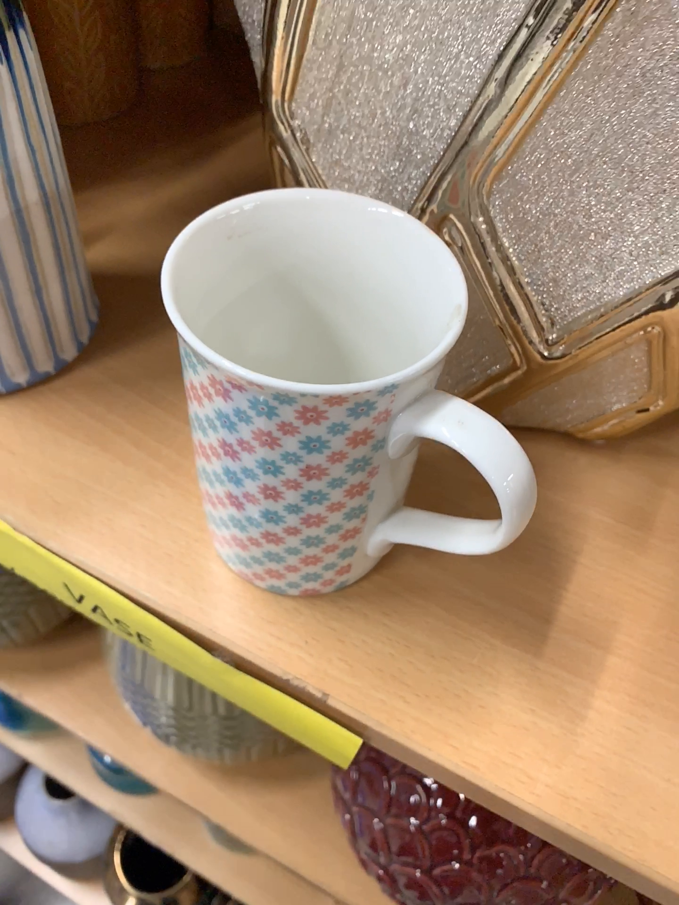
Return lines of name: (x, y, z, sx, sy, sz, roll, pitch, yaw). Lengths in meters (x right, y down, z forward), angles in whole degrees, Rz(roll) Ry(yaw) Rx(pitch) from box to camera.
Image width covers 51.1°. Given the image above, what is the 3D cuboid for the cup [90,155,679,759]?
cup: (0.007, 0.001, 0.211, 0.120, 0.110, 0.080, 36, 56, 21)
